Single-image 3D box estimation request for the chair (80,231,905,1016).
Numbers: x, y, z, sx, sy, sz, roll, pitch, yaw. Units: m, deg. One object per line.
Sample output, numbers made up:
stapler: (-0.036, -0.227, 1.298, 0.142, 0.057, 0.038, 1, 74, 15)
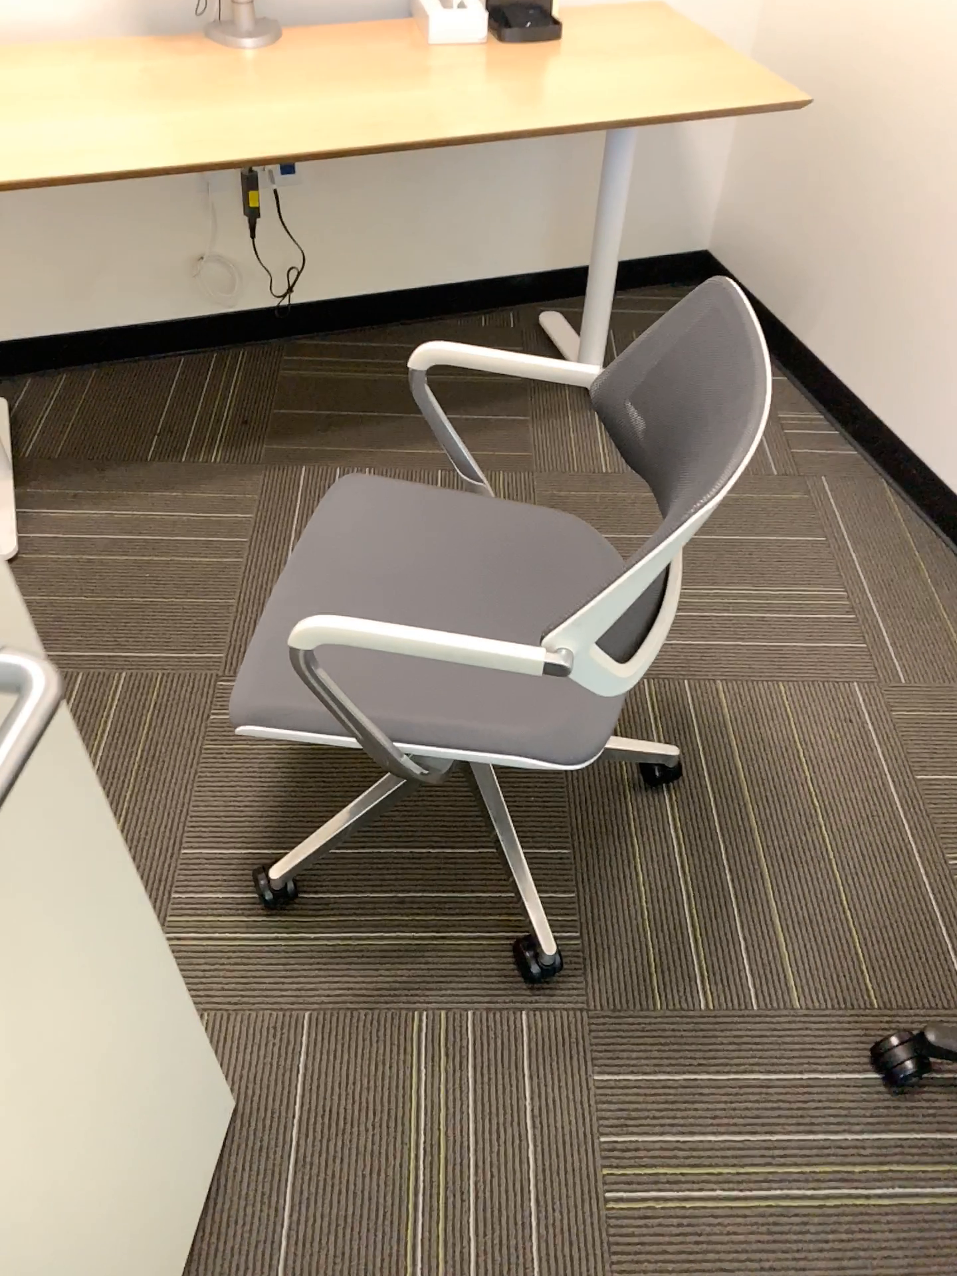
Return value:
chair: (0.013, 0.005, 1.128, 0.590, 0.666, 0.553, 5, 48, 1)
